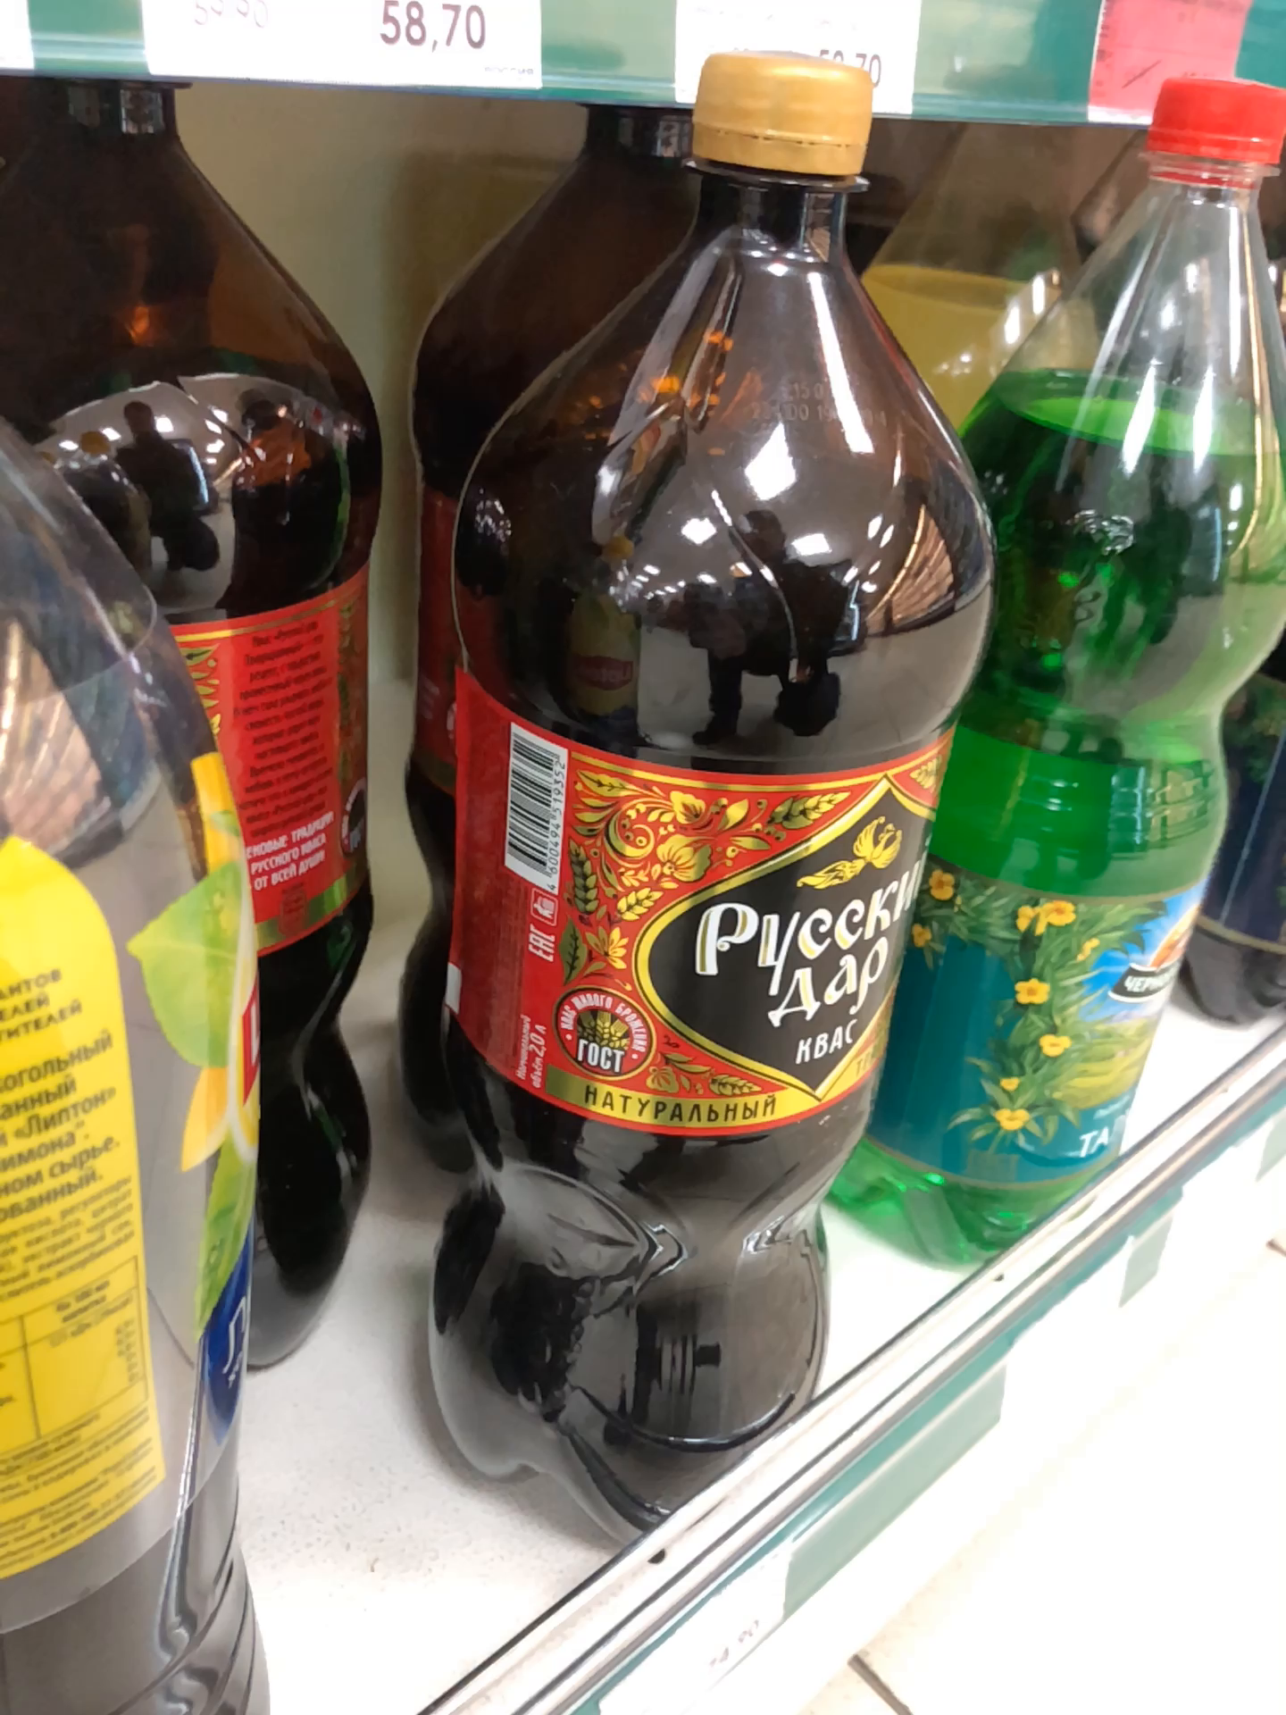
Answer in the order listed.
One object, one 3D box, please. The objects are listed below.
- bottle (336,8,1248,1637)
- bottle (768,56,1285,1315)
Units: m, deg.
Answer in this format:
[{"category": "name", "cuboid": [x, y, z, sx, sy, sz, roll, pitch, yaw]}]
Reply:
[{"category": "bottle", "cuboid": [0.008, 0.008, 0.315, 0.110, 0.322, 0.100, -19, 39, -35]}, {"category": "bottle", "cuboid": [0.123, -0.033, 0.404, 0.099, 0.327, 0.085, -19, 39, -35]}]
